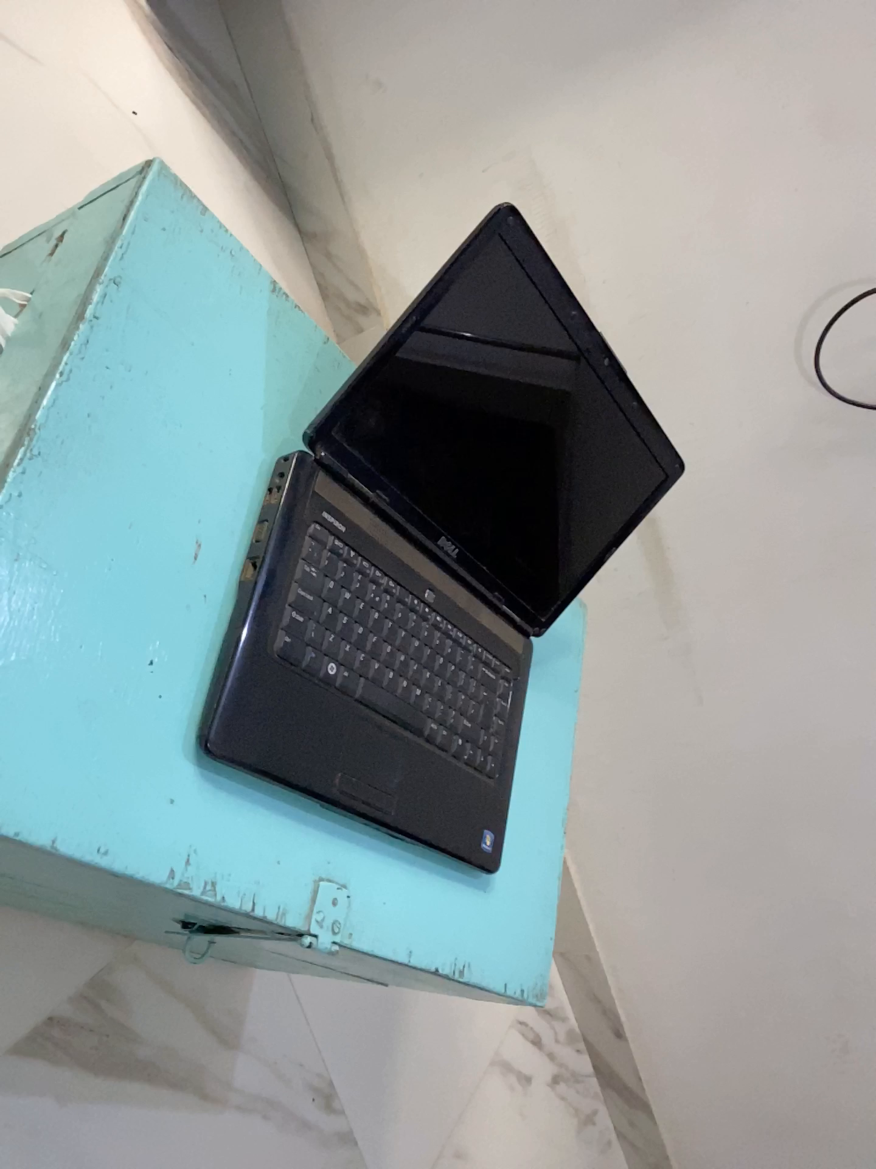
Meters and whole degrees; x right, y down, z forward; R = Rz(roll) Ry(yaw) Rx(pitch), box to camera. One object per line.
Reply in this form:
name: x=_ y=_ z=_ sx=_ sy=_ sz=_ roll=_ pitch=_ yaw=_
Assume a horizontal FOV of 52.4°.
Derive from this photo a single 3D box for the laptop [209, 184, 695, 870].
laptop: x=0.059 y=-0.014 z=0.738 sx=0.364 sy=0.162 sz=0.412 roll=39 pitch=53 yaw=-45
